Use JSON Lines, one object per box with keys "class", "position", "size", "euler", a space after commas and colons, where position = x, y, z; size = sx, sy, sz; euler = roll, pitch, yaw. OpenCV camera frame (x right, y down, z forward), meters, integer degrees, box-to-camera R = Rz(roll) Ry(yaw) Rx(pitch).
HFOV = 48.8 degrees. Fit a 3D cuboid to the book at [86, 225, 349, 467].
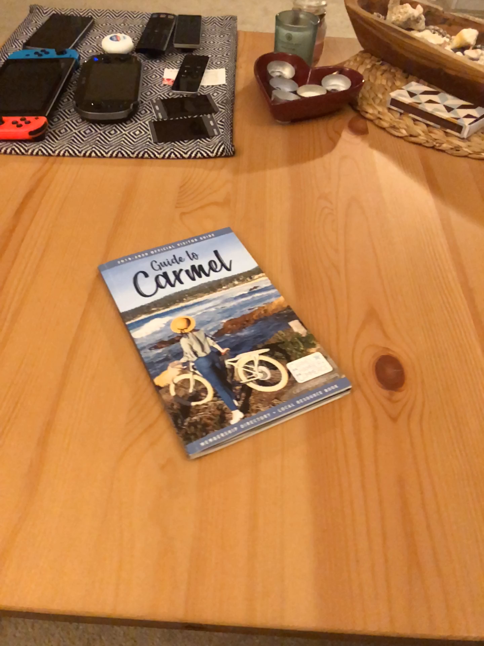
{"class": "book", "position": [-0.029, 0.000, 0.434], "size": [0.137, 0.010, 0.208], "euler": [-19, 52, -19]}
